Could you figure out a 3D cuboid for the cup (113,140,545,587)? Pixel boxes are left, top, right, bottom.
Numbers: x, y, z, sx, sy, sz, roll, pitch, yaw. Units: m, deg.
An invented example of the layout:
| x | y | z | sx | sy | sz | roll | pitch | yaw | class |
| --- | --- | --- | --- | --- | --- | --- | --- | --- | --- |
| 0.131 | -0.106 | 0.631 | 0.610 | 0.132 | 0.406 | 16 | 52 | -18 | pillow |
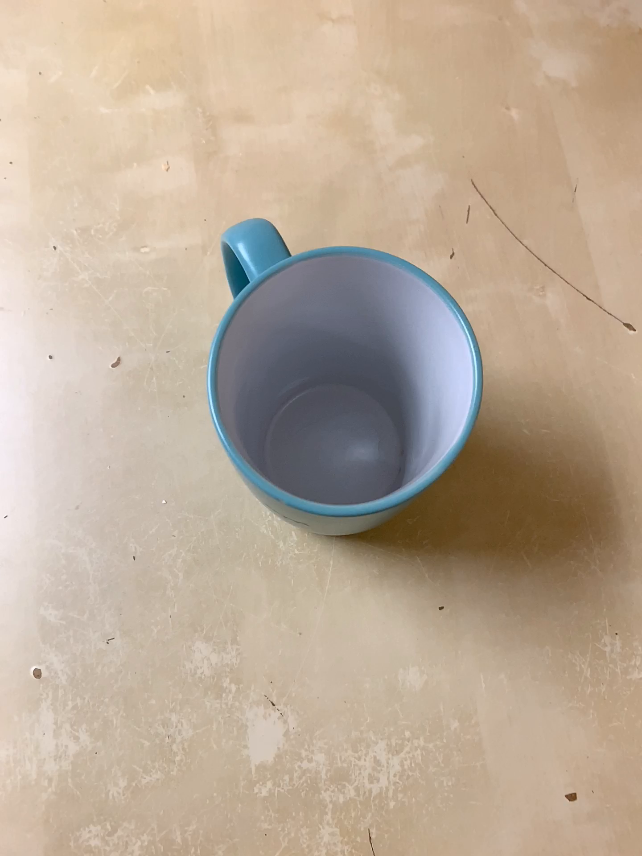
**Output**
| x | y | z | sx | sy | sz | roll | pitch | yaw | class |
| --- | --- | --- | --- | --- | --- | --- | --- | --- | --- |
| -0.001 | -0.014 | 0.268 | 0.091 | 0.114 | 0.121 | -29 | 78 | -8 | cup |
